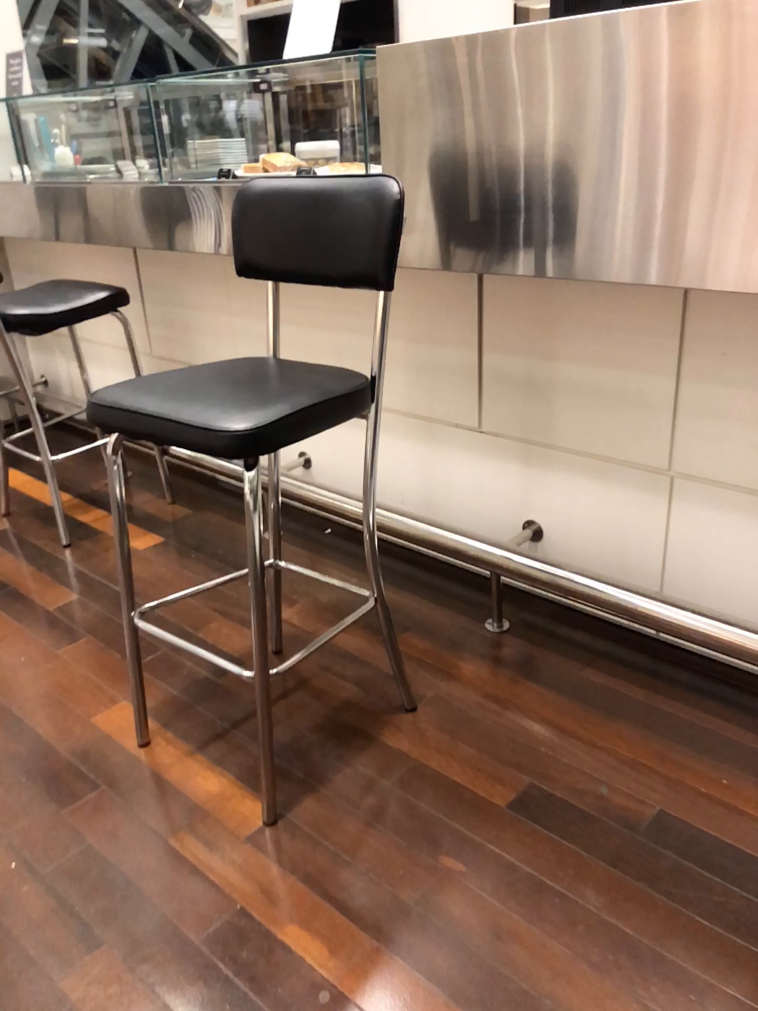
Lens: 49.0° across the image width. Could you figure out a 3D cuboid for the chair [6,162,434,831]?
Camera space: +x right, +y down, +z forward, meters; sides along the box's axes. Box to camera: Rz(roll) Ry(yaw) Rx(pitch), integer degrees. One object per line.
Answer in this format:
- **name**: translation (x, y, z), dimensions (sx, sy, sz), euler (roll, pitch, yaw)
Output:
- **chair**: translation (-0.224, -0.048, 1.486), dimensions (0.421, 1.013, 0.472), euler (15, 29, 37)
